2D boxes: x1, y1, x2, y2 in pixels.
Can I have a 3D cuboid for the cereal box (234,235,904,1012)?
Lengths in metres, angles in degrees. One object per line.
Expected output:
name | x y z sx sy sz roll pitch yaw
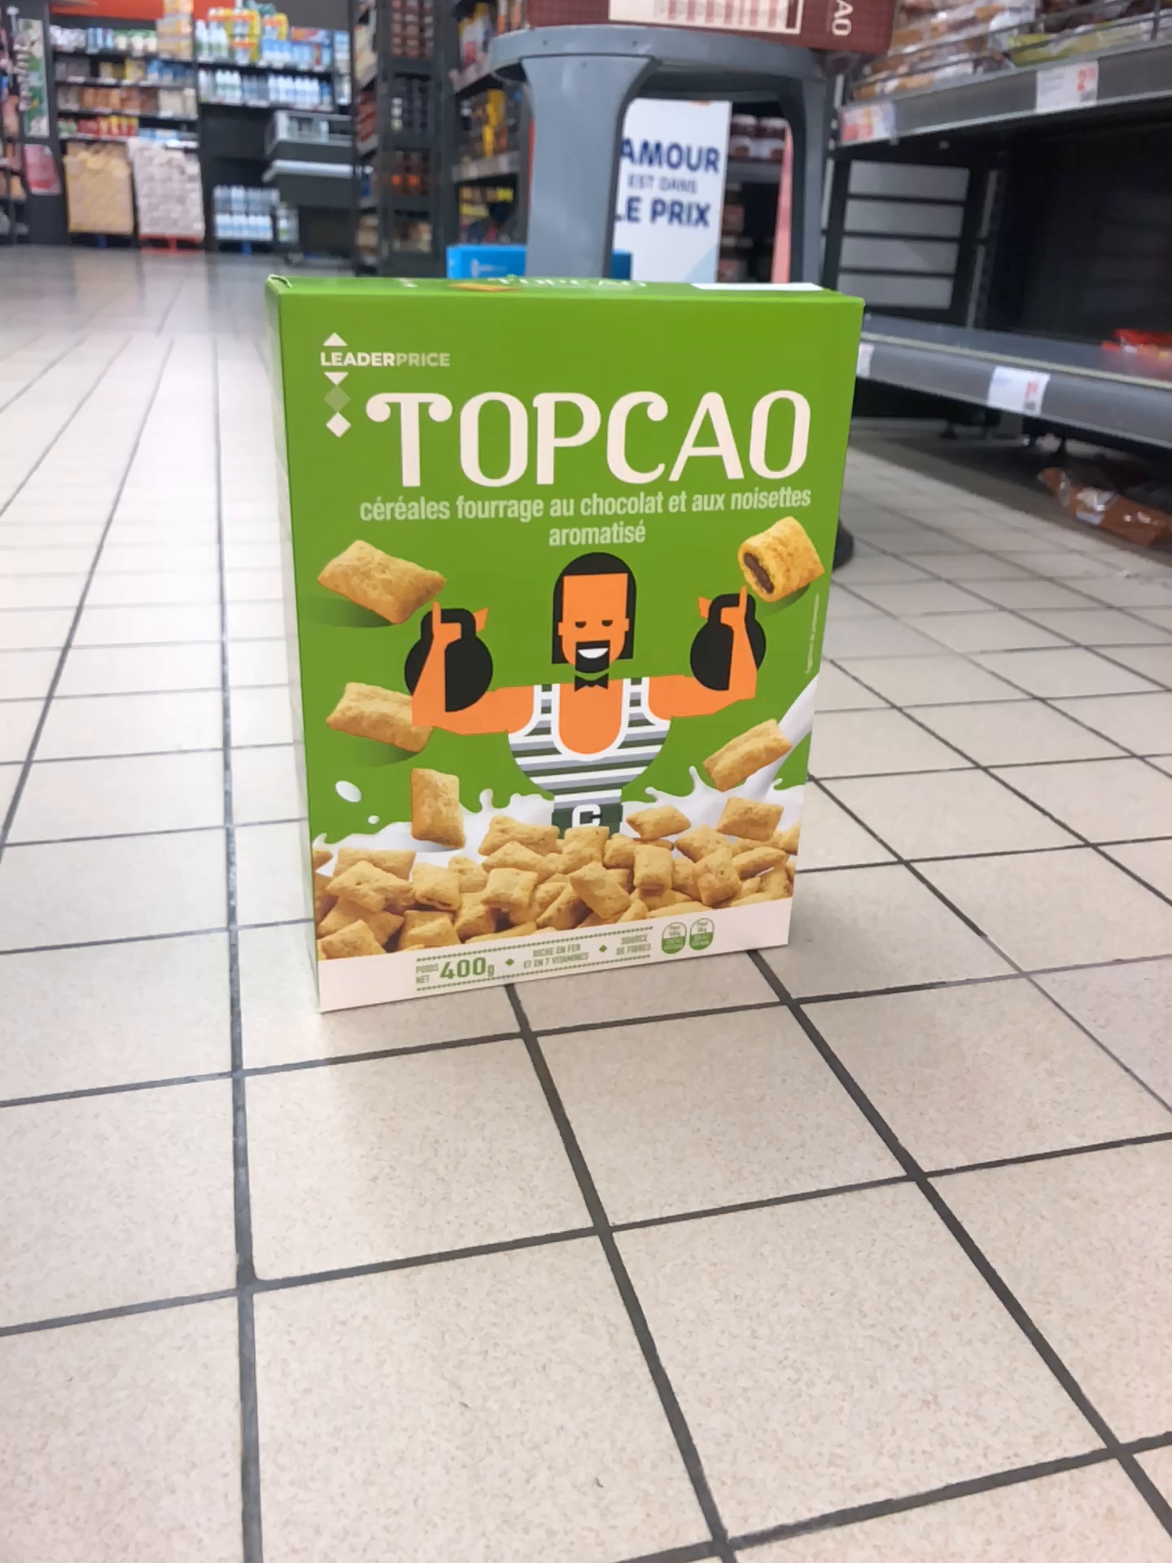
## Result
cereal box | -0.009 -0.053 0.455 0.200 0.249 0.060 -5 26 -16
